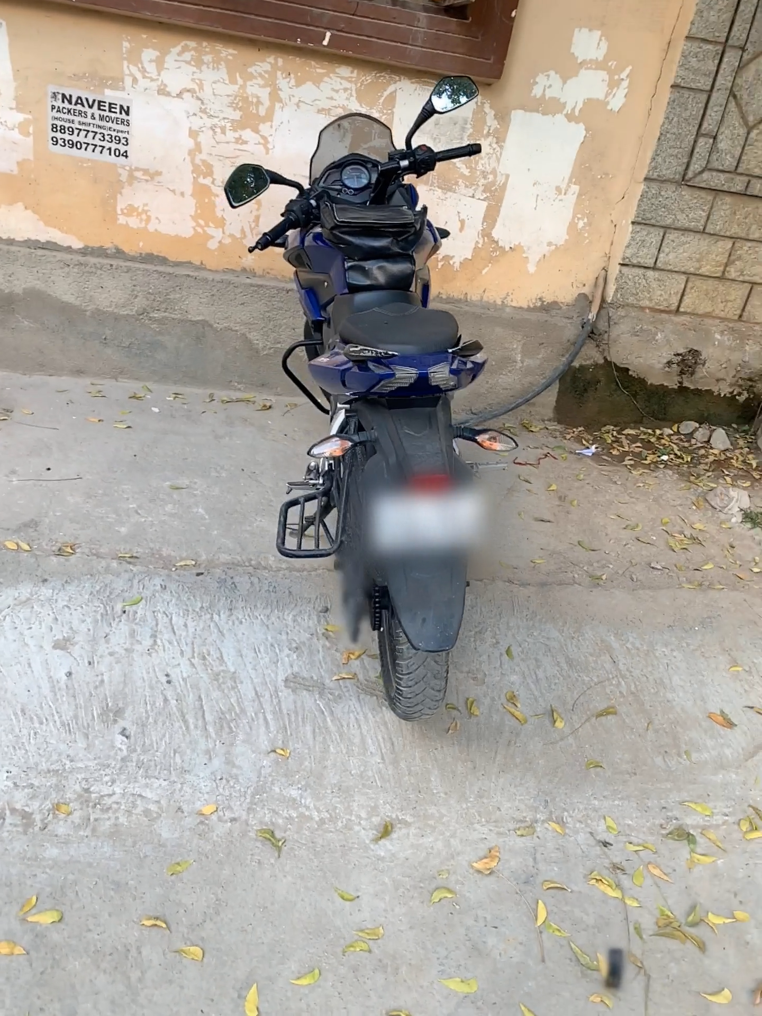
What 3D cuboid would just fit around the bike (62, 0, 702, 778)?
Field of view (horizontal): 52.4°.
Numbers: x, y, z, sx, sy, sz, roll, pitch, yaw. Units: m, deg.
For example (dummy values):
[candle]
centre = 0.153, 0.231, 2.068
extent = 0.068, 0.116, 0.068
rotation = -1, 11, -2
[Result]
[bike]
centre = -0.261, -0.460, 1.980
extent = 0.953, 1.218, 1.574
rotation = 0, 37, -17
